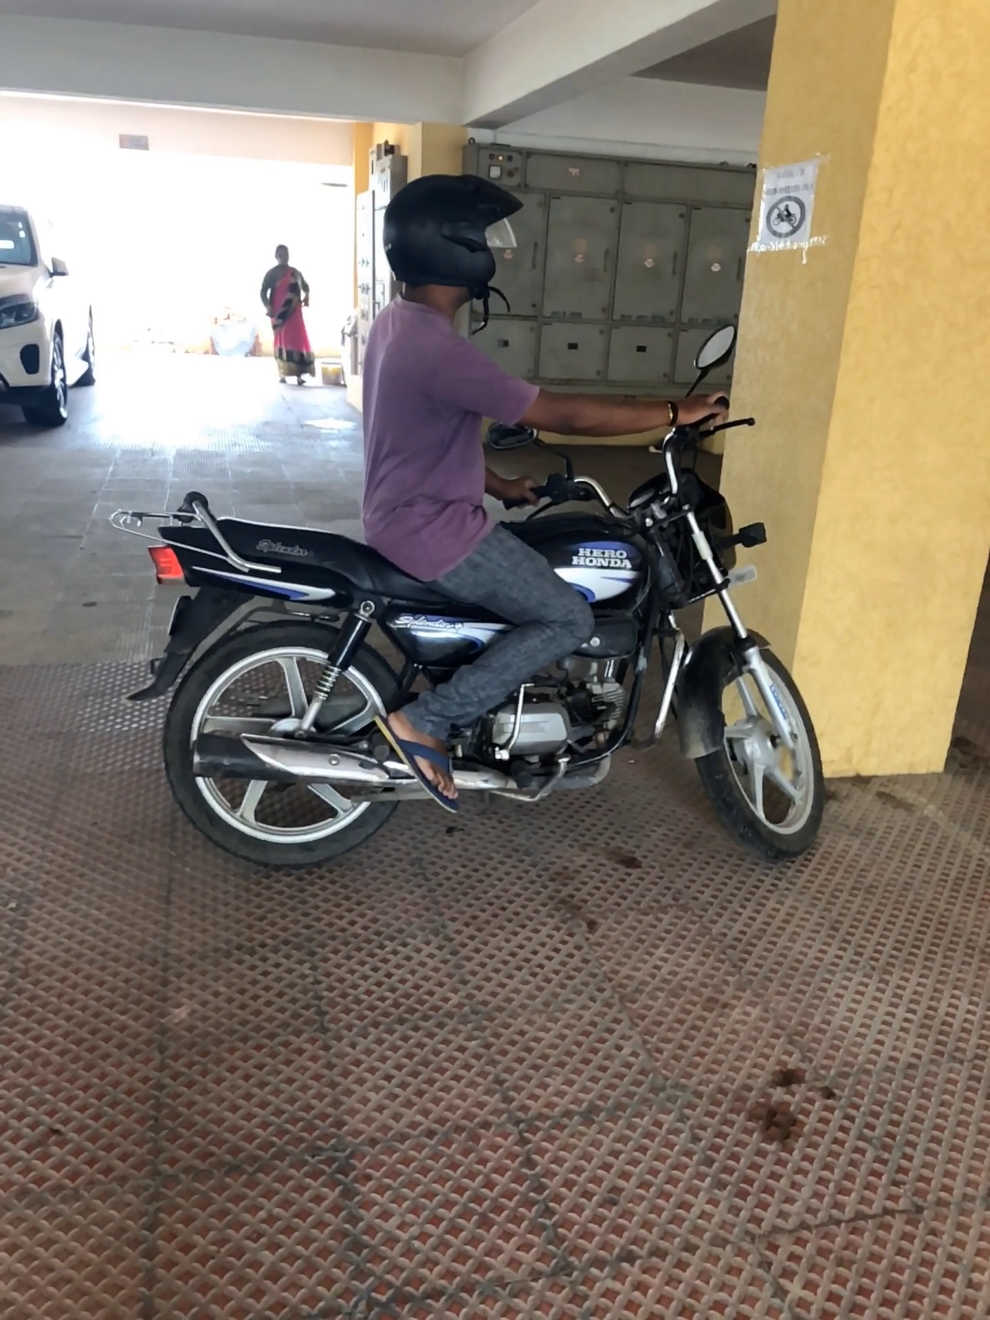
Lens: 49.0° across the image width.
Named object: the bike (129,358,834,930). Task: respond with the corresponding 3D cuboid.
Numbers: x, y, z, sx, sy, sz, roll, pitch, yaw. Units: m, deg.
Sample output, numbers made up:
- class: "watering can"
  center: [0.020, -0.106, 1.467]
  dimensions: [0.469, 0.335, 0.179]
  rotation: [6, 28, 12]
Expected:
- class: "bike"
  center: [-0.069, -0.071, 2.844]
  dimensions: [1.542, 1.196, 0.769]
  rotation: [0, 19, -15]
